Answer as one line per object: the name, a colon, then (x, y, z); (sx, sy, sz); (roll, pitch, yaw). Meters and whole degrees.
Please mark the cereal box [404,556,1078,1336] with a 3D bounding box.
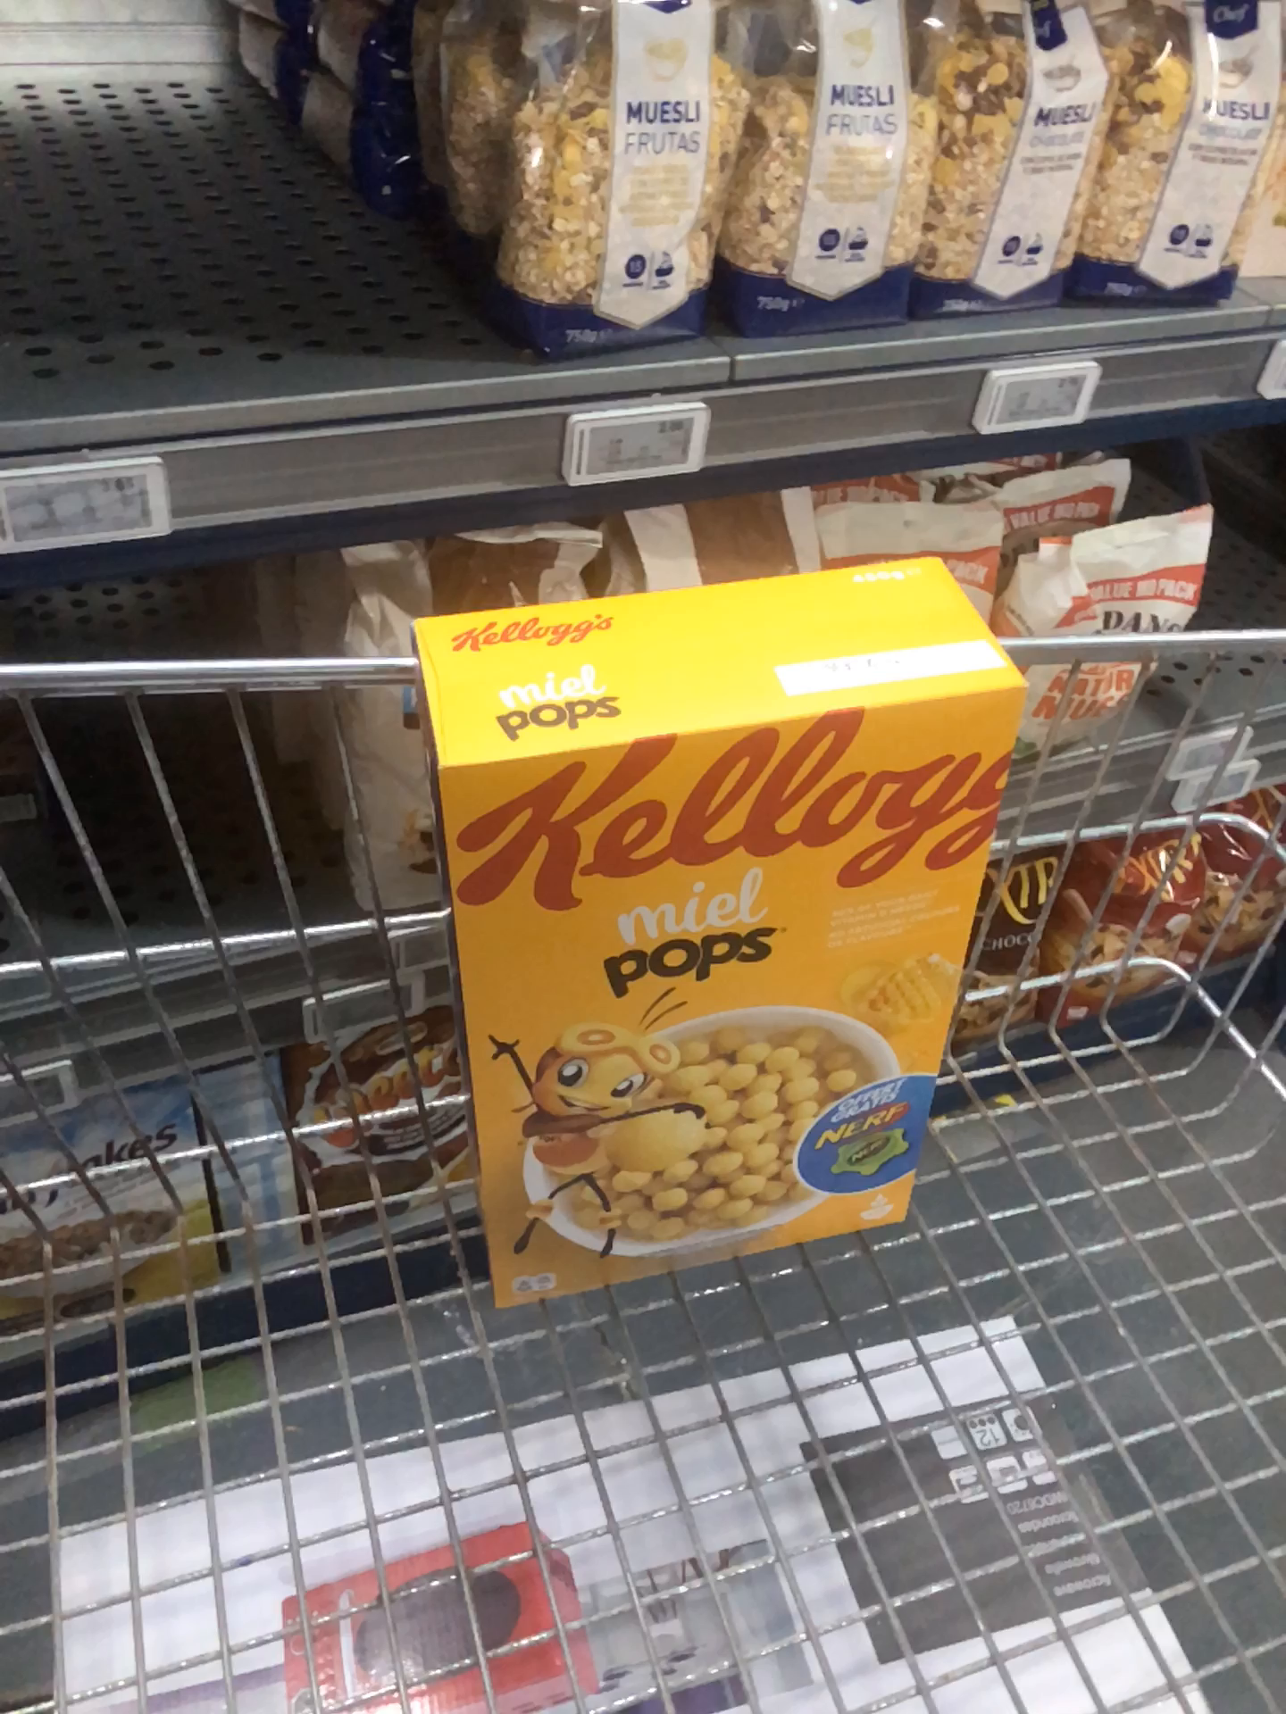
cereal box: (0.025, 0.042, 0.549); (0.200, 0.279, 0.090); (-10, 41, -15)
